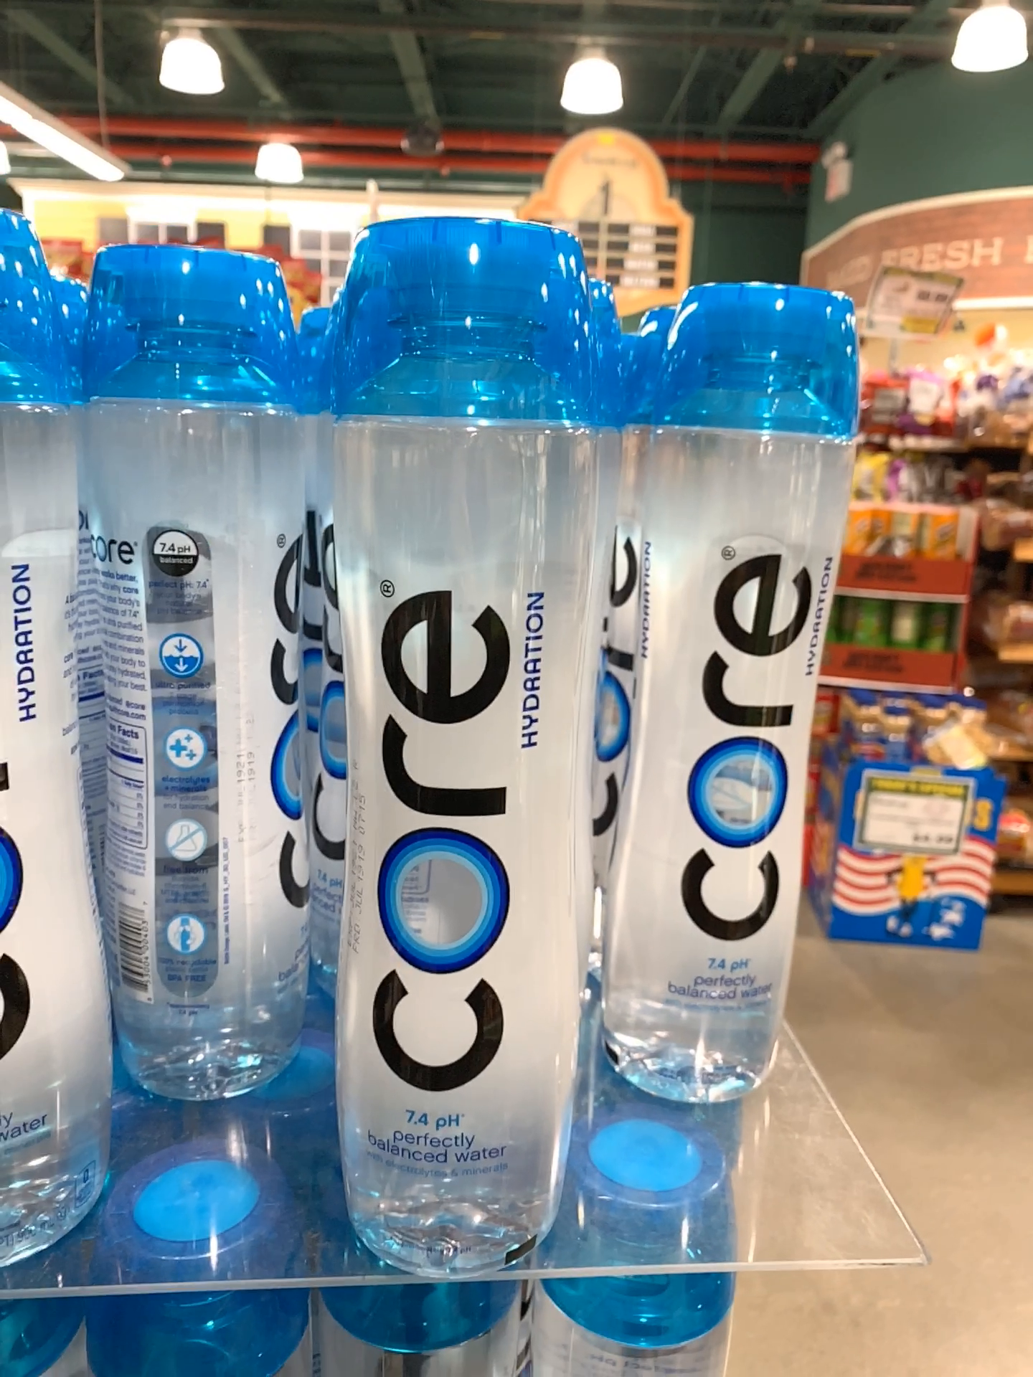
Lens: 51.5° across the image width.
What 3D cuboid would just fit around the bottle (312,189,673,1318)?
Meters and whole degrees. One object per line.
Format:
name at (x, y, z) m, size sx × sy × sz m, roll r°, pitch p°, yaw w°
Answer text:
bottle at (-0.009, 0.022, 0.312) m, size 0.080 × 0.289 × 0.090 m, roll 3°, pitch 13°, yaw 2°
